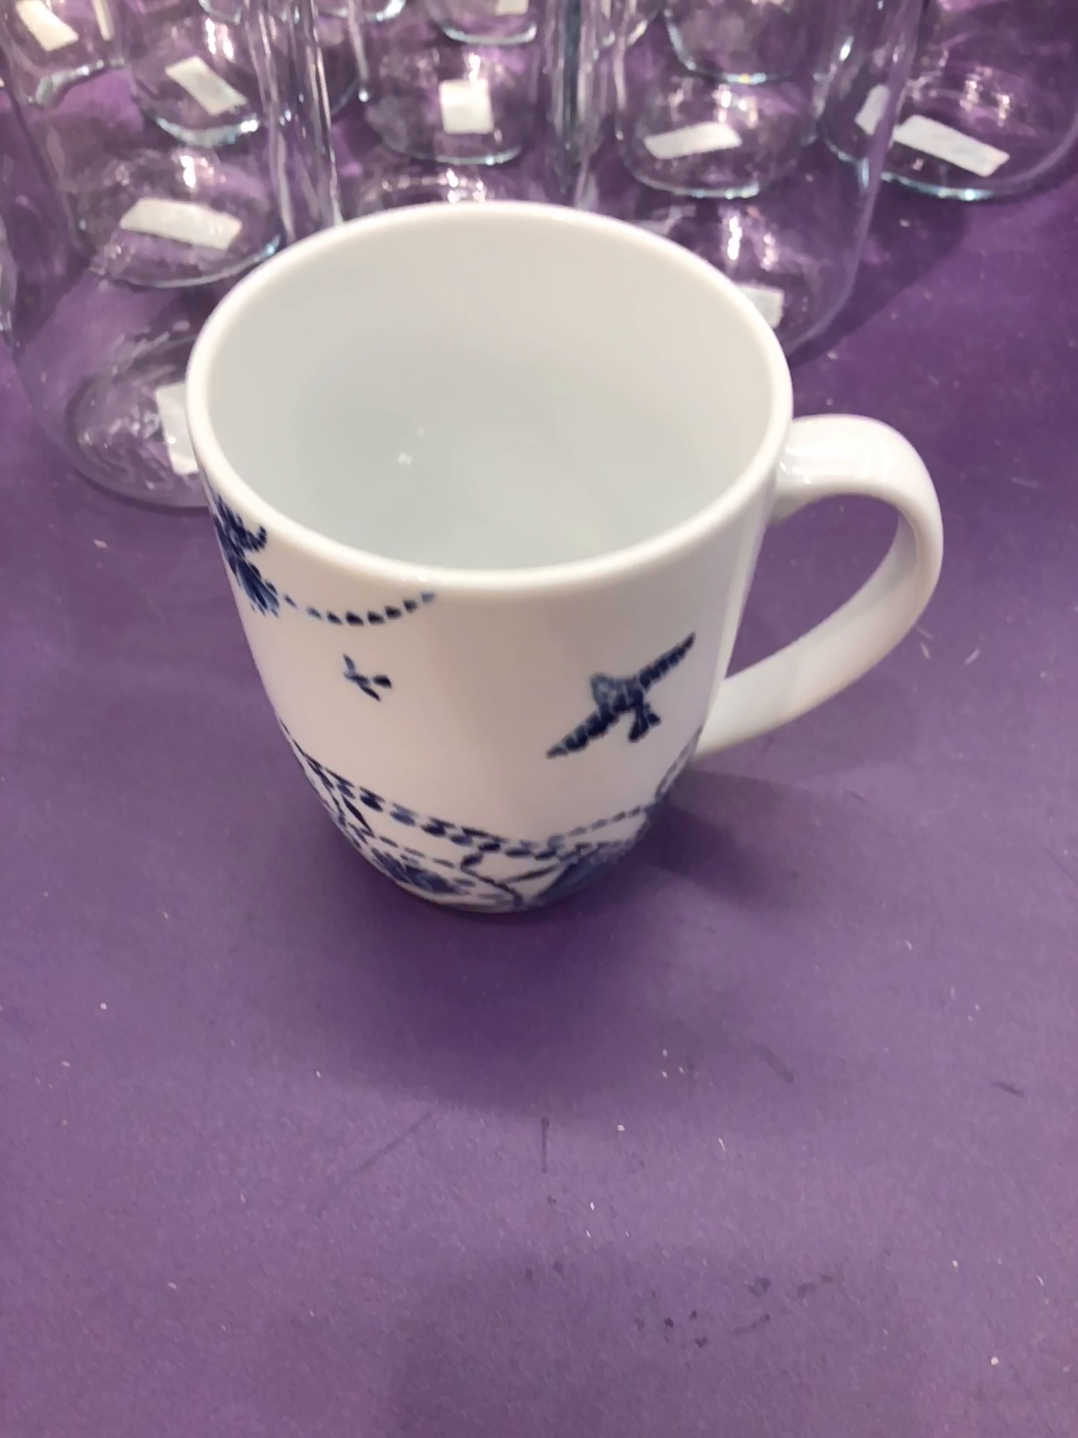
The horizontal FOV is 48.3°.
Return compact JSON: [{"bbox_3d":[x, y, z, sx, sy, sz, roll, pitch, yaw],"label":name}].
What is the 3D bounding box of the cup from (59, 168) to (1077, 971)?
[{"bbox_3d":[0.006,-0.023,0.235,0.140,0.119,0.101,0,54,-1],"label":"cup"}]
